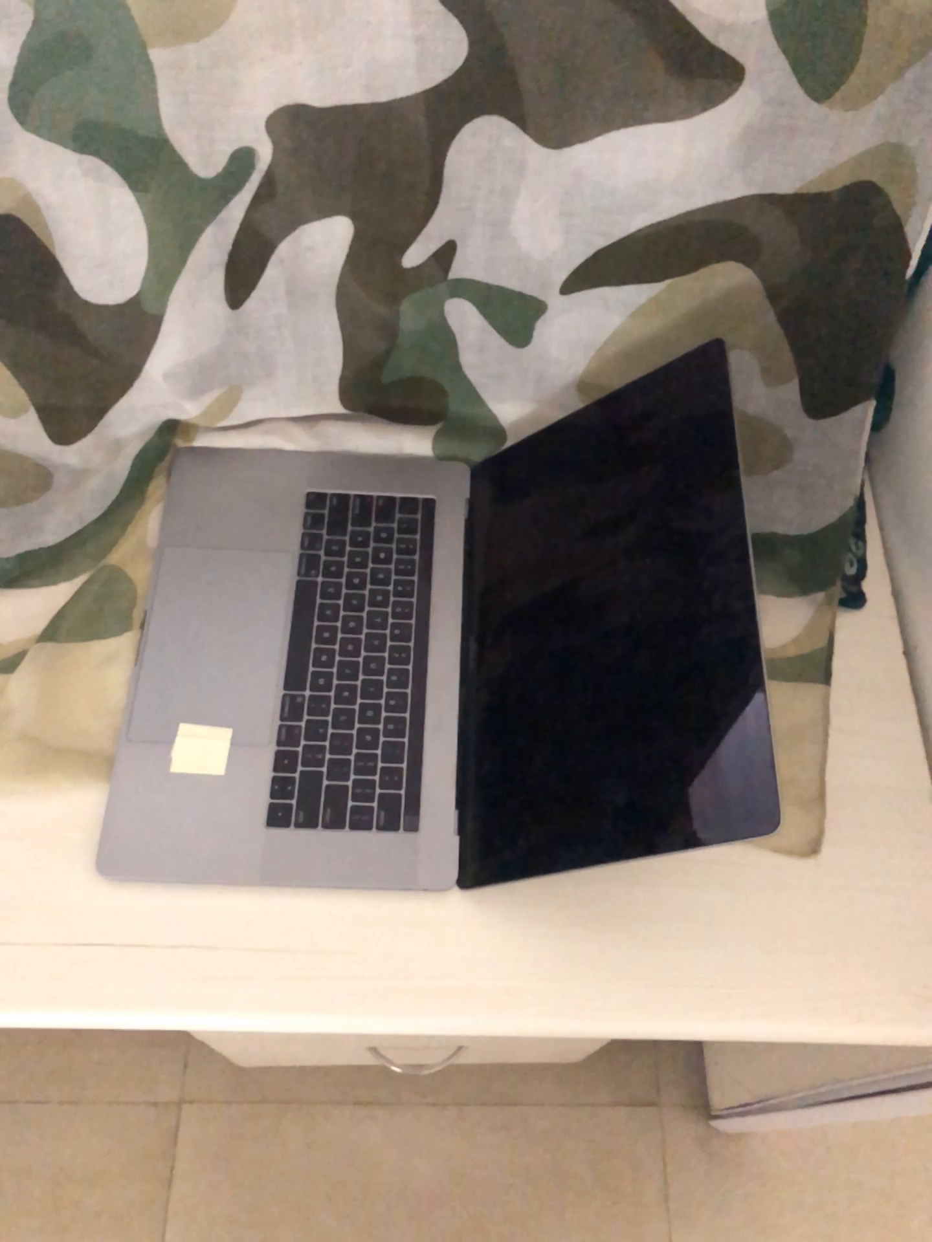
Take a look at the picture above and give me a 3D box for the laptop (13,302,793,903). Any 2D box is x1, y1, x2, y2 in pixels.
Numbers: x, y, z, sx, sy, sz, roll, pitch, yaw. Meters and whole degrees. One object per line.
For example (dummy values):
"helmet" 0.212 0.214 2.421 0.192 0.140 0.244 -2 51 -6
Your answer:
"laptop" -0.033 -0.015 0.684 0.402 0.166 0.342 3 61 -1
